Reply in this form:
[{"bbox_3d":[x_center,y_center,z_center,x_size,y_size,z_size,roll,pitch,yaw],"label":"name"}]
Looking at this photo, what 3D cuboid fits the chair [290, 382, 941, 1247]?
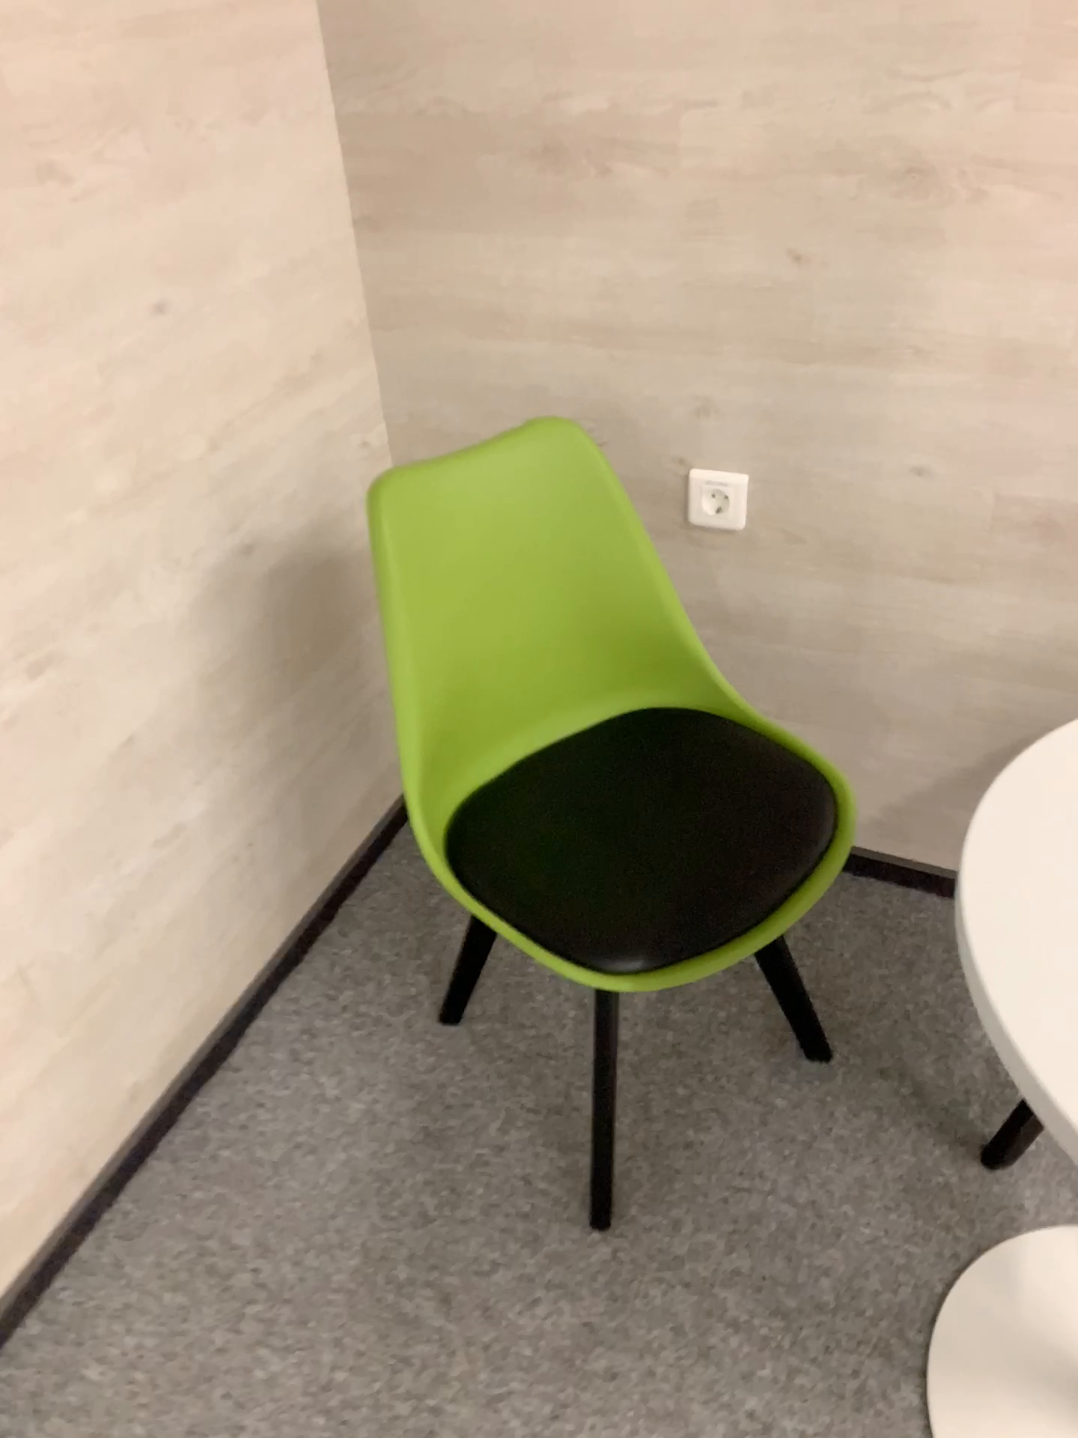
[{"bbox_3d":[0.095,0.116,1.391,0.491,0.865,0.482,-25,41,-25],"label":"chair"}]
